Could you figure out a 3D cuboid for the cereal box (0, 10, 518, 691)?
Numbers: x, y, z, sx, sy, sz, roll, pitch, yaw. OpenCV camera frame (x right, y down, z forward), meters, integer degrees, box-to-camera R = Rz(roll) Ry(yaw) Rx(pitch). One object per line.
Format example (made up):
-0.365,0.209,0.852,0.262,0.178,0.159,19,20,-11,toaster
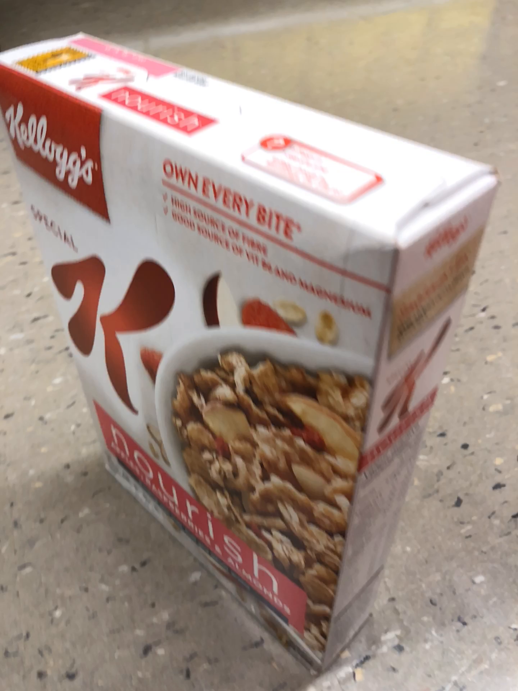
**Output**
-0.021,0.024,0.278,0.211,0.289,0.050,33,54,31,cereal box
